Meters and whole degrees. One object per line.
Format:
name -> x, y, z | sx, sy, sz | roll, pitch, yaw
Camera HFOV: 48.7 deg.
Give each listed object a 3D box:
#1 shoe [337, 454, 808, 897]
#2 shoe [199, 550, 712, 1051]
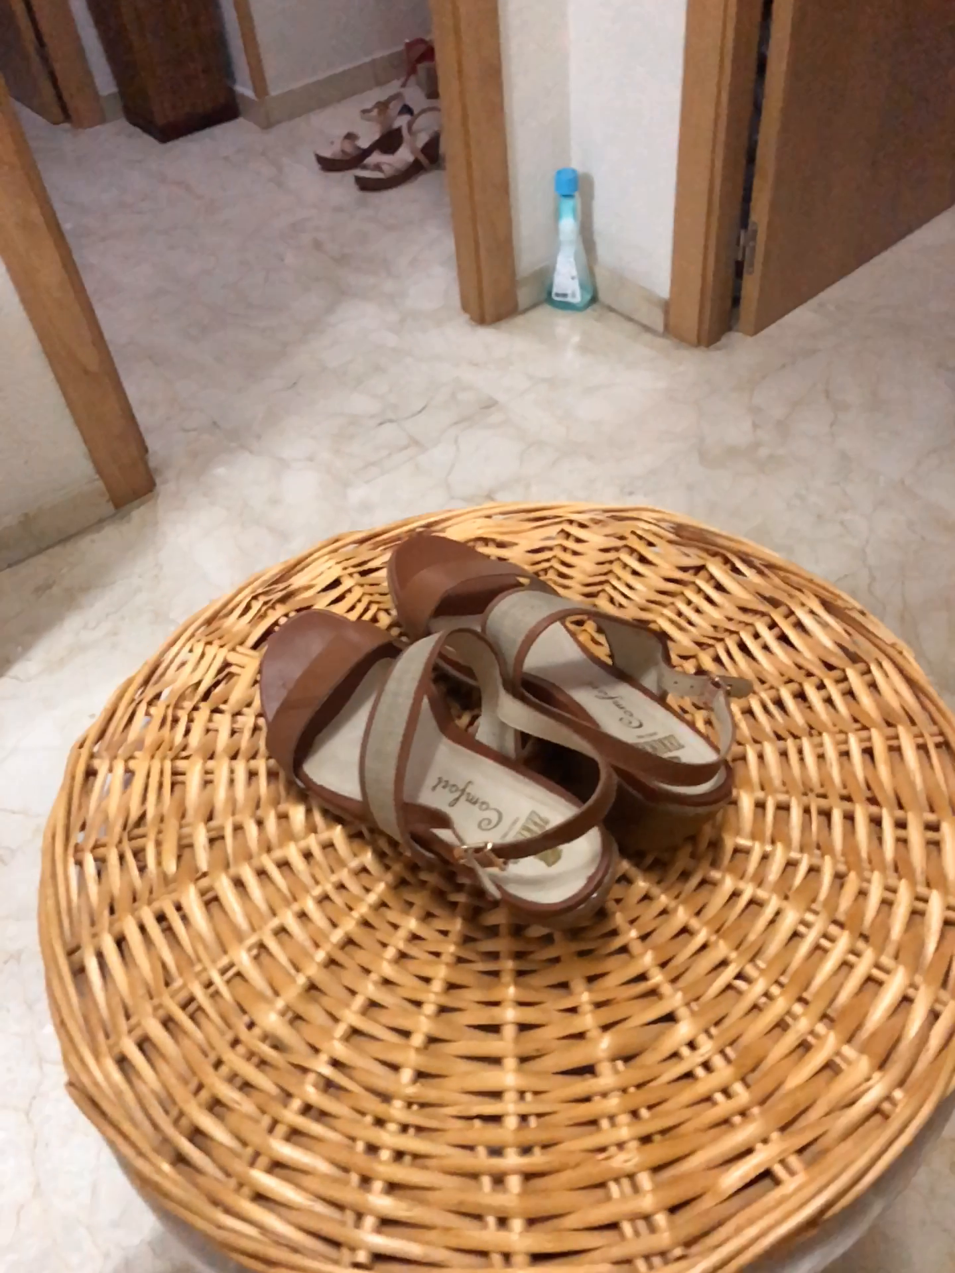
shoe -> 0.035, 0.003, 0.575 | 0.100, 0.070, 0.271 | -18, 45, -31
shoe -> -0.020, 0.071, 0.546 | 0.090, 0.090, 0.271 | -37, 53, -26
